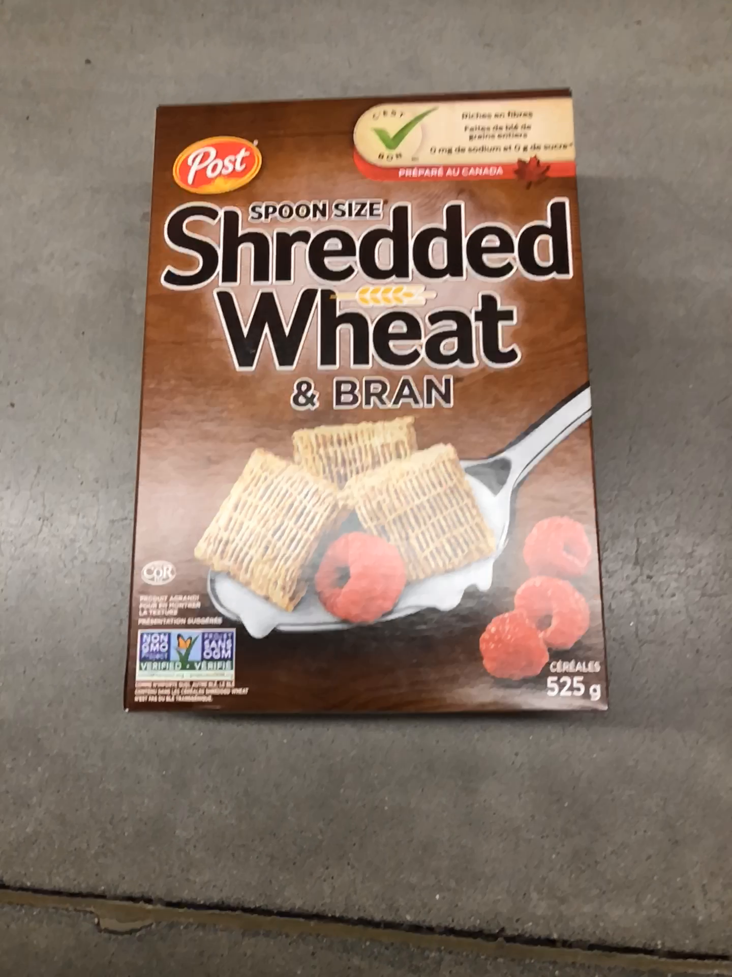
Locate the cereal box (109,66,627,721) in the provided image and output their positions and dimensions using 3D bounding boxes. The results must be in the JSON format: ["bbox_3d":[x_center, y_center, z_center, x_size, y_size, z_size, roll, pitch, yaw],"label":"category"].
[{"bbox_3d":[0.001,-0.042,0.372,0.200,0.070,0.280,-1,79,4],"label":"cereal box"}]
